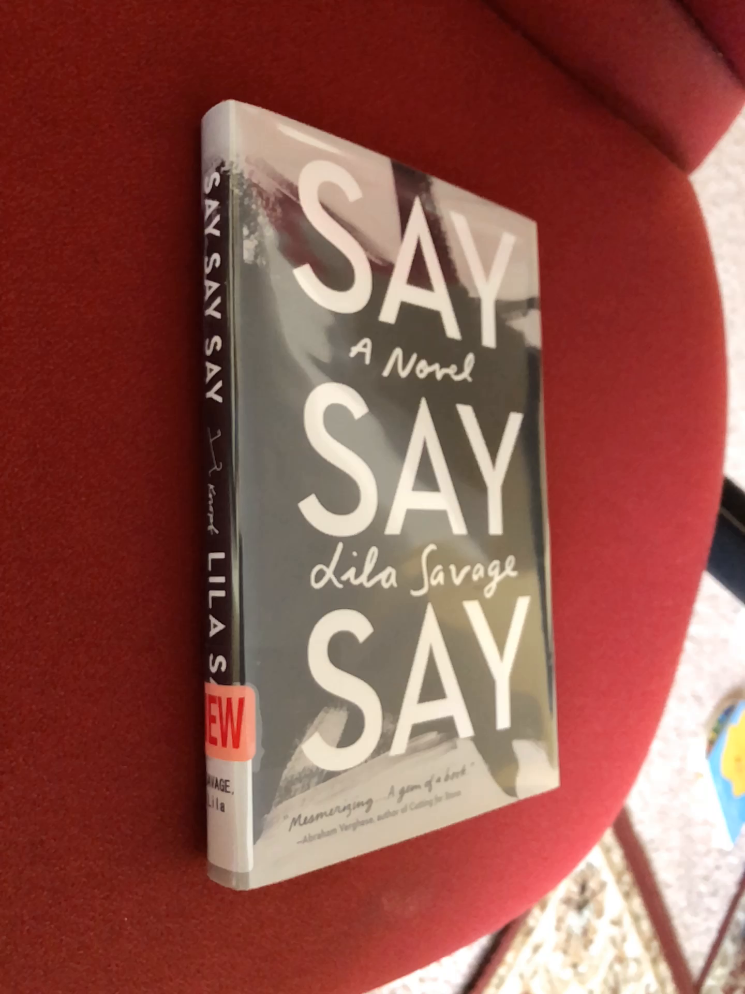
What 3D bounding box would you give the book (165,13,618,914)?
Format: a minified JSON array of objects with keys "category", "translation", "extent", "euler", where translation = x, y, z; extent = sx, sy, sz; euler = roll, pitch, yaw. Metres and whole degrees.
[{"category":"book","translation":[0.016,-0.006,0.262],"extent":[0.151,0.040,0.210],"euler":[2,90,-44]}]
